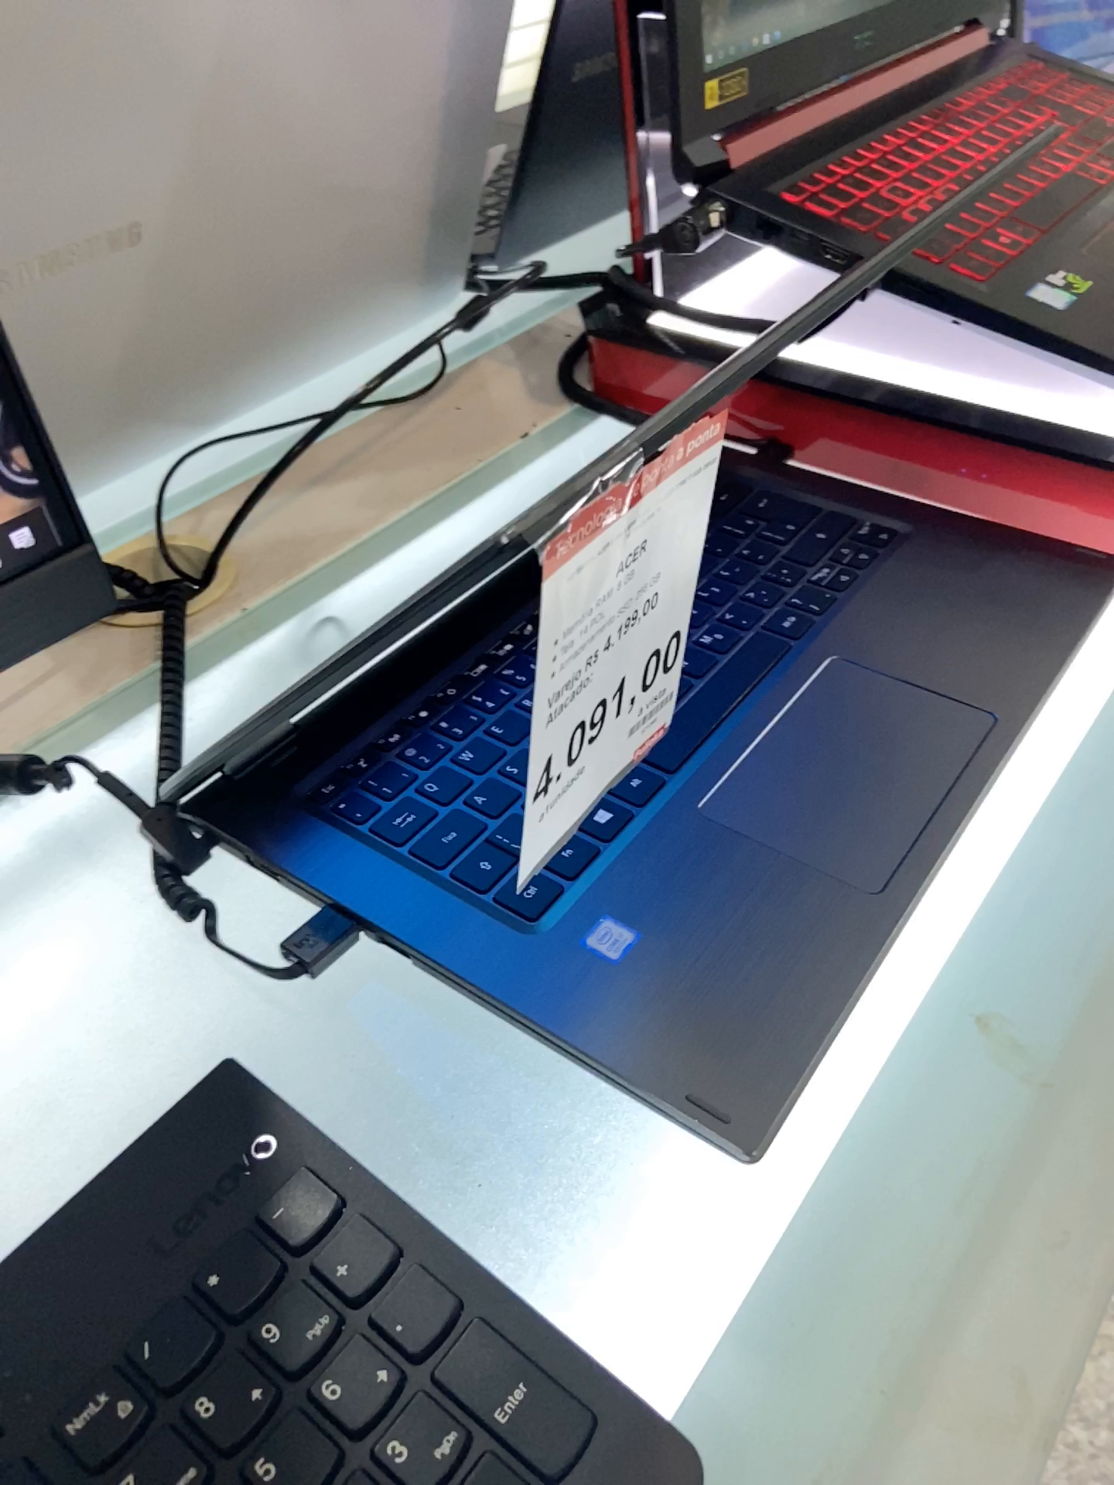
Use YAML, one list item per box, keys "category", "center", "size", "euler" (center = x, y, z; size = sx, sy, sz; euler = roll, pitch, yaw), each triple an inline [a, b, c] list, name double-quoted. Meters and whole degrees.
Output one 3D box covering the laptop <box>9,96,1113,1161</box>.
- category: "laptop"
  center: [0.052, -0.085, 0.385]
  size: [0.219, 0.154, 0.329]
  euler: [24, 47, 27]
